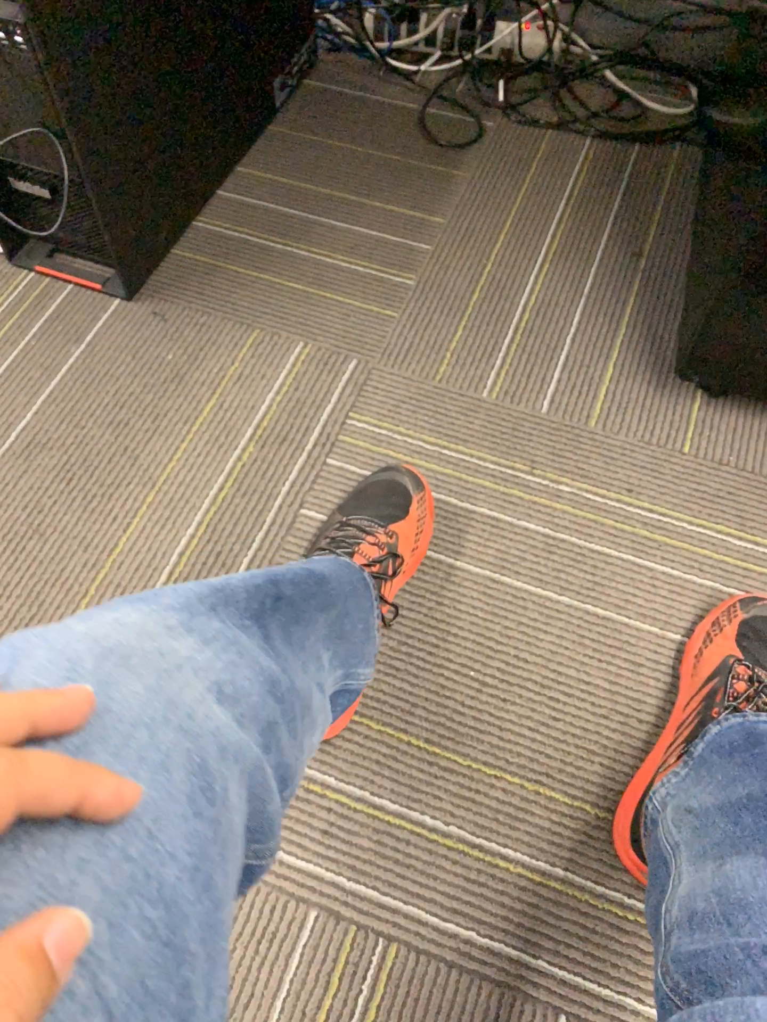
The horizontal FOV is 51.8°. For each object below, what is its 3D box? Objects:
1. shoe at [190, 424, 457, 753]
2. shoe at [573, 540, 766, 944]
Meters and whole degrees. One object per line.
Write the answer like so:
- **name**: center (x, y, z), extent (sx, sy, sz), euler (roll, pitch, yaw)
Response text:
- **shoe**: center (-0.047, 0.062, 0.784), extent (0.132, 0.090, 0.305), euler (8, 57, 28)
- **shoe**: center (0.307, 0.195, 0.708), extent (0.140, 0.090, 0.302), euler (31, 64, 4)
